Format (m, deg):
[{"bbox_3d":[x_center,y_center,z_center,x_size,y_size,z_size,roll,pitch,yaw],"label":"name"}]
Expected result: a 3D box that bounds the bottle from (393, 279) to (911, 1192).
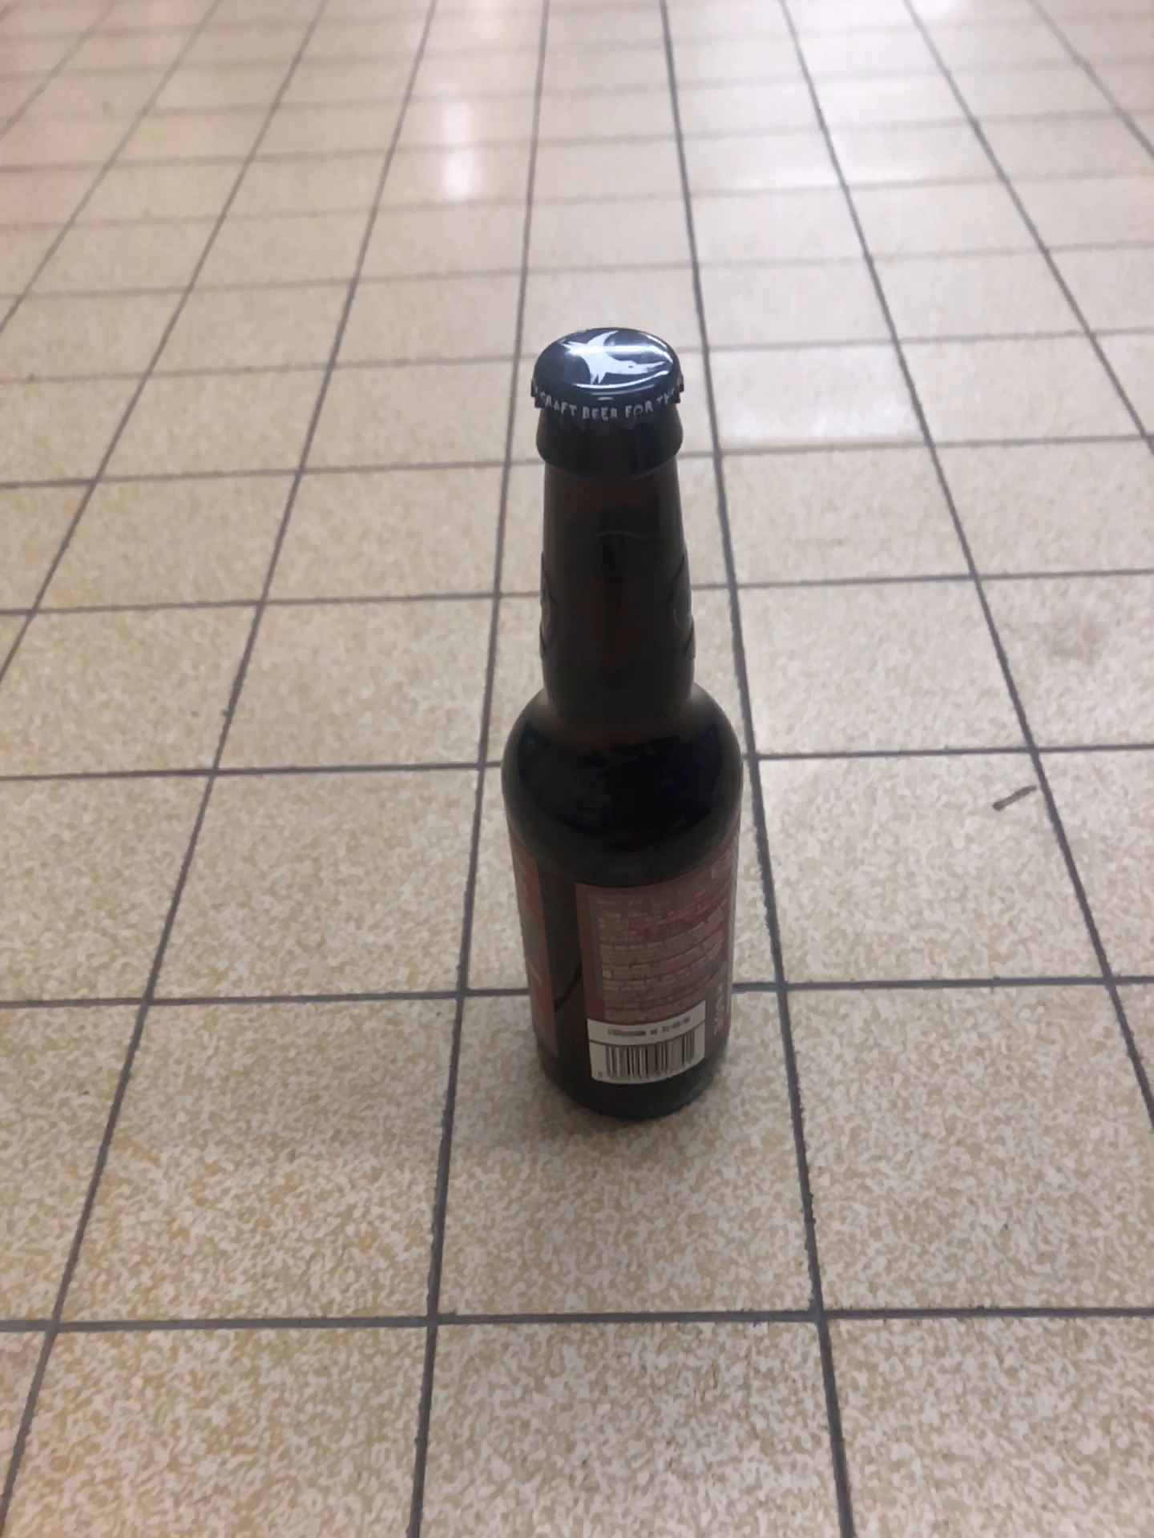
[{"bbox_3d":[0.016,0.008,0.299,0.070,0.209,0.070,-3,46,3],"label":"bottle"}]
